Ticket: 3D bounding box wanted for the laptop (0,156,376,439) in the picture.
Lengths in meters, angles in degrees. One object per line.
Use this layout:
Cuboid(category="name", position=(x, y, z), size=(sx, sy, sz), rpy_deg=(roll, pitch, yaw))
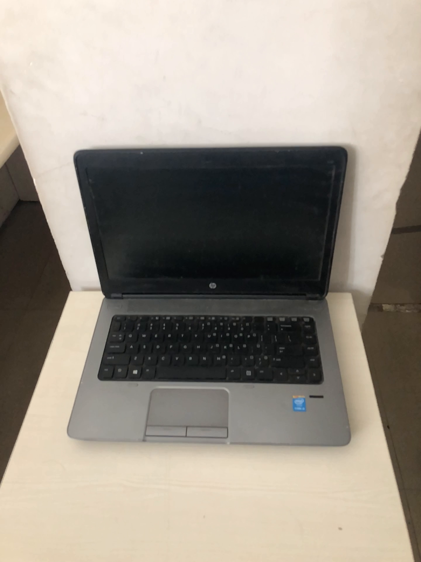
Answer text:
Cuboid(category="laptop", position=(-0.009, 0.014, 0.524), size=(0.304, 0.209, 0.238), rpy_deg=(1, 45, 3))
